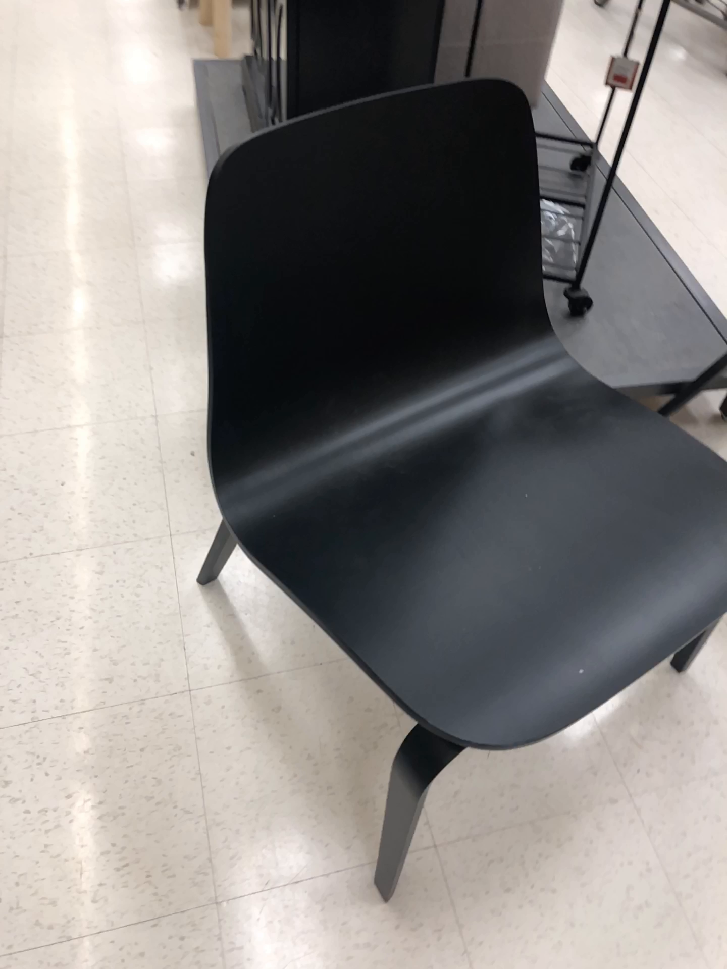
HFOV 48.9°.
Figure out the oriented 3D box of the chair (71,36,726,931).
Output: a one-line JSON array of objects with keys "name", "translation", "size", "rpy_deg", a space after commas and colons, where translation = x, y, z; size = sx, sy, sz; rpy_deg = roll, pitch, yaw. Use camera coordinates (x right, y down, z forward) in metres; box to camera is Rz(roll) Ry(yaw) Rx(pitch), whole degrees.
[{"name": "chair", "translation": [0.137, -0.013, 1.009], "size": [0.641, 0.718, 0.631], "rpy_deg": [-26, 56, -24]}]
